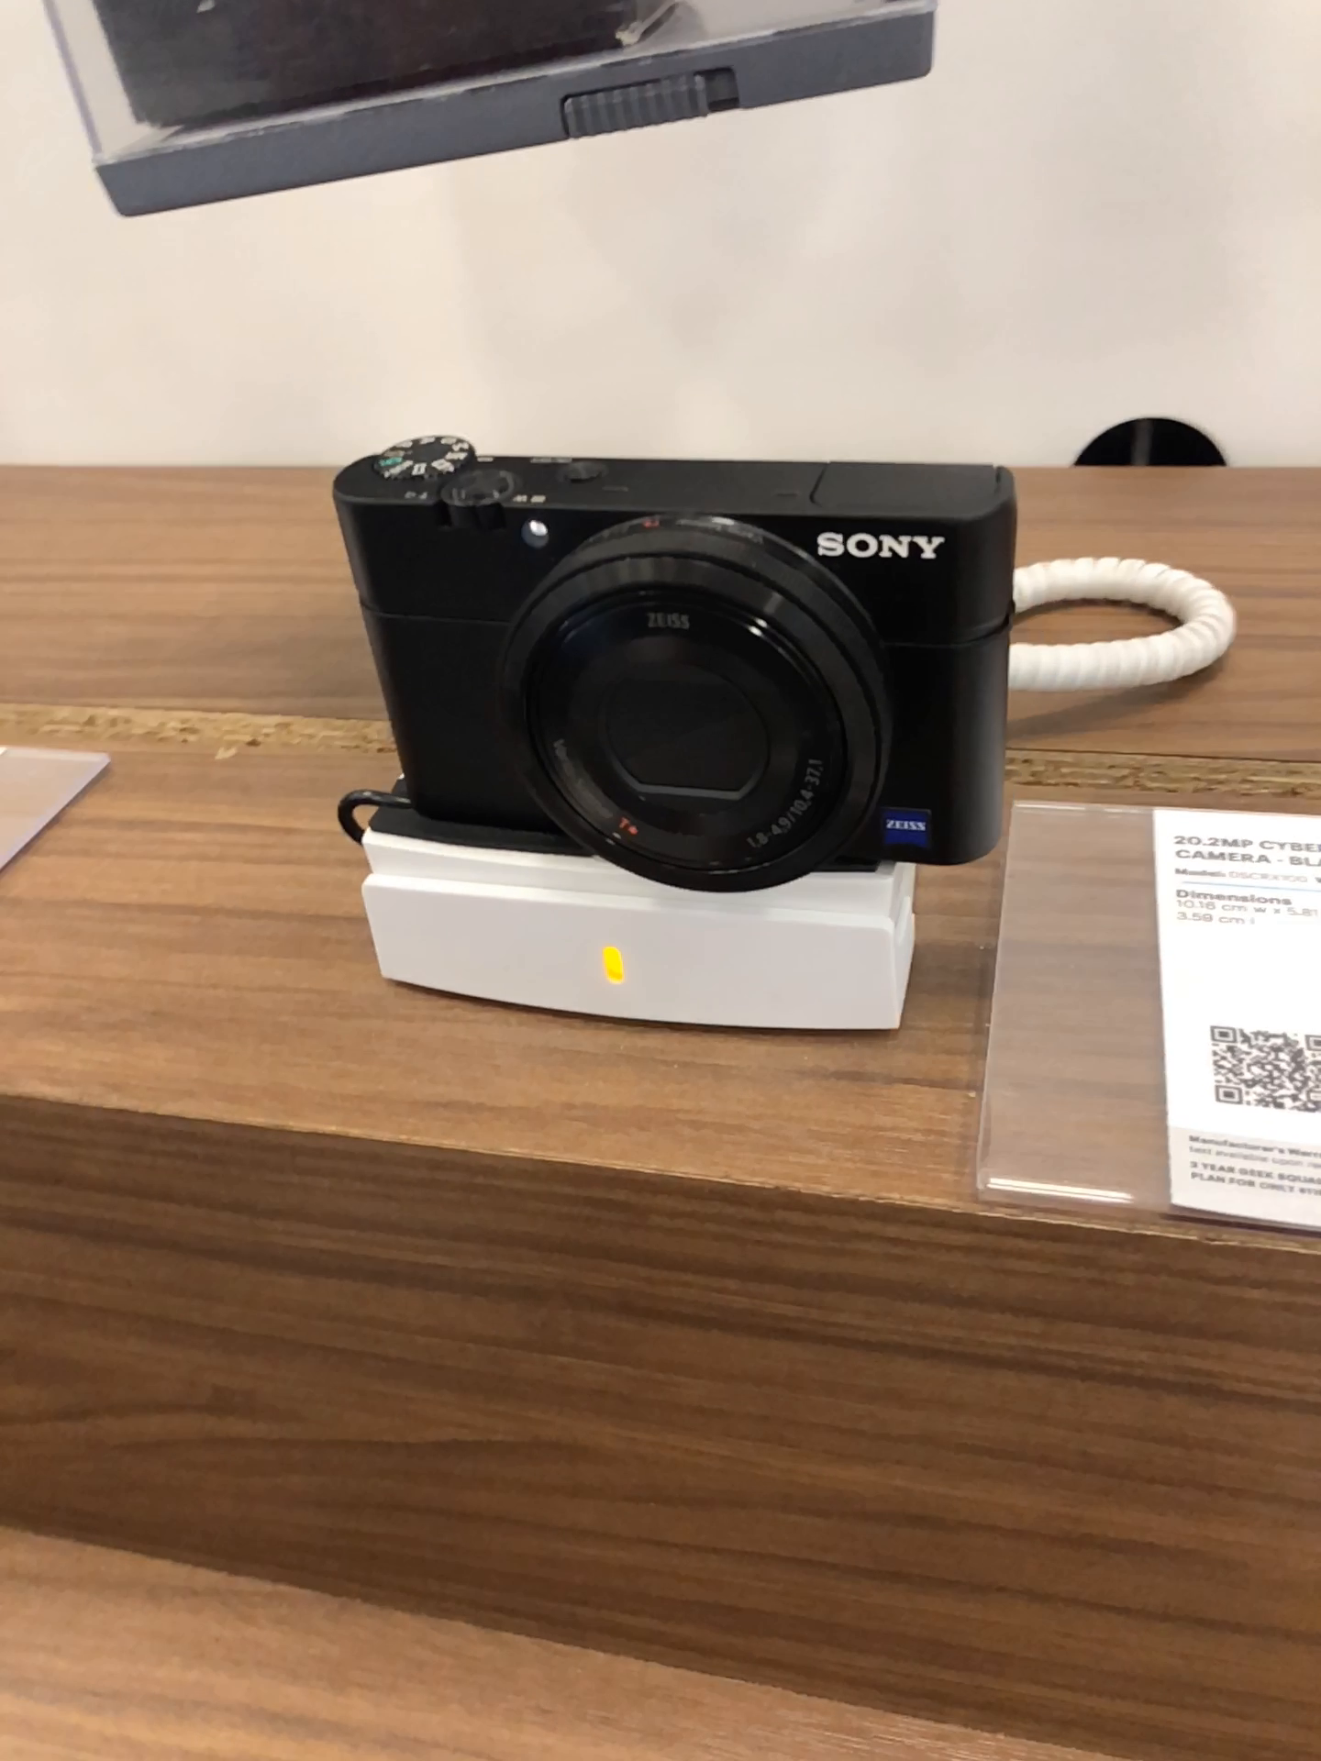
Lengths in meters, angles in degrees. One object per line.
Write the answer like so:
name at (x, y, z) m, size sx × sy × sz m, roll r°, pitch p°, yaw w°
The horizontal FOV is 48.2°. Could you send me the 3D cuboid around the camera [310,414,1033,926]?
camera at (0.005, -0.034, 0.233) m, size 0.100 × 0.070 × 0.030 m, roll 5°, pitch 40°, yaw 17°
